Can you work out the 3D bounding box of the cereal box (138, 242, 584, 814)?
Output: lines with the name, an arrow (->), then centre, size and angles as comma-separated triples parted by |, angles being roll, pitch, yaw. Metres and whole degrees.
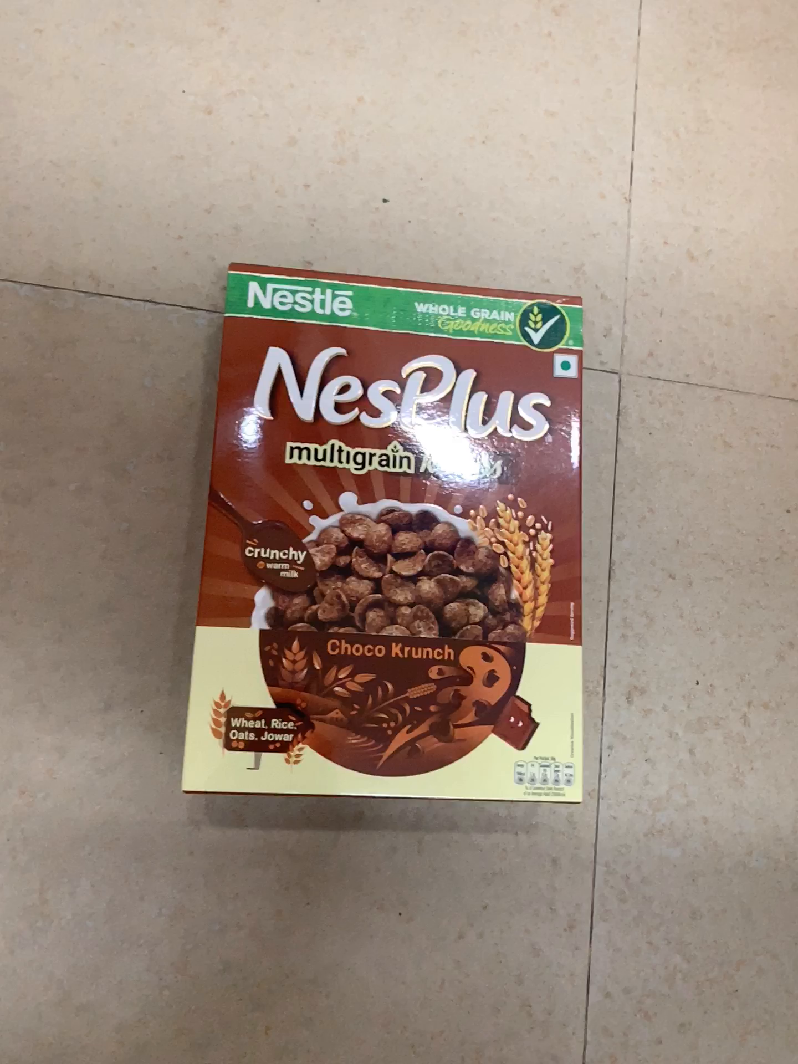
cereal box -> -0.014, 0.001, 0.460 | 0.210, 0.090, 0.280 | 4, 79, -7
